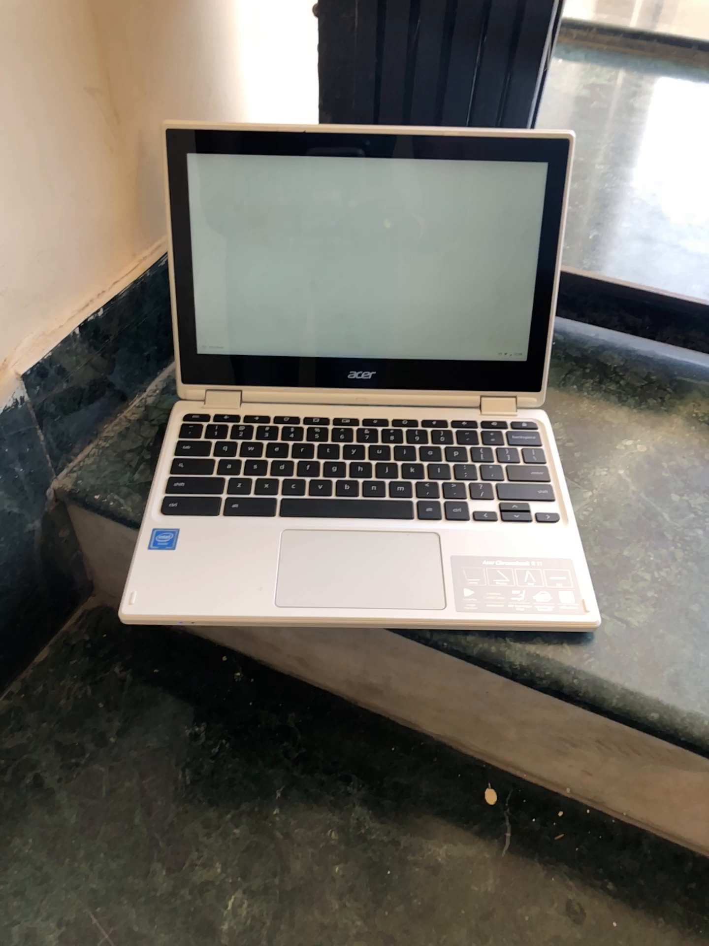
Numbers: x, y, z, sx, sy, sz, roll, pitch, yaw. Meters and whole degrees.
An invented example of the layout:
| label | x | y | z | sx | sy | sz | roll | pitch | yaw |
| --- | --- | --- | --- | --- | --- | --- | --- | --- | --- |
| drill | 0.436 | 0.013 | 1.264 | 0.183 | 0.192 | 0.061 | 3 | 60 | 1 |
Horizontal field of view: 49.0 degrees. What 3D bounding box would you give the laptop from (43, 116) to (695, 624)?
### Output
| label | x | y | z | sx | sy | sz | roll | pitch | yaw |
| --- | --- | --- | --- | --- | --- | --- | --- | --- | --- |
| laptop | 0.006 | -0.076 | 0.489 | 0.278 | 0.178 | 0.273 | 2 | 43 | -1 |
